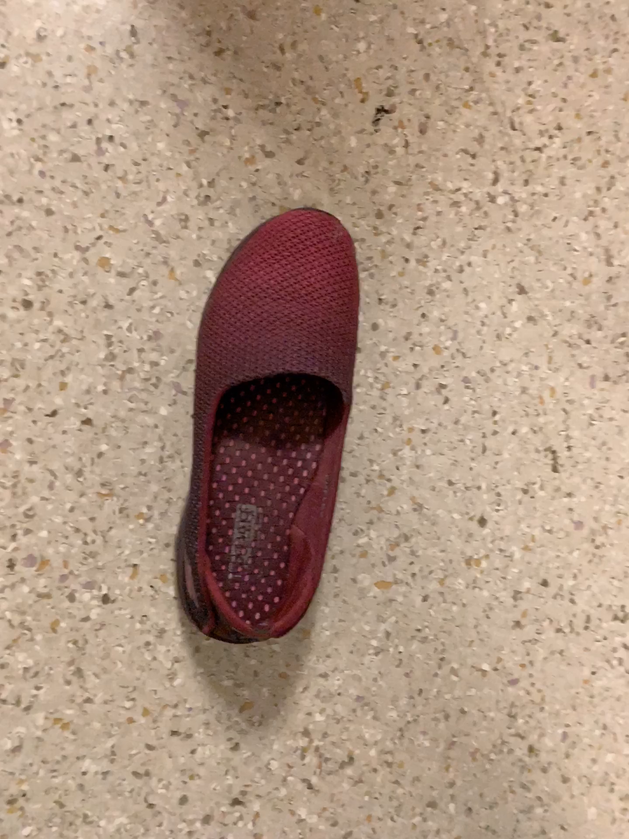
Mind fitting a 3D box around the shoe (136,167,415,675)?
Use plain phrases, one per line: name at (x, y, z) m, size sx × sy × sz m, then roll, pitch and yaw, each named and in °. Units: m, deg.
shoe at (-0.026, 0.003, 0.352) m, size 0.091 × 0.091 × 0.229 m, roll 12°, pitch 86°, yaw -14°
